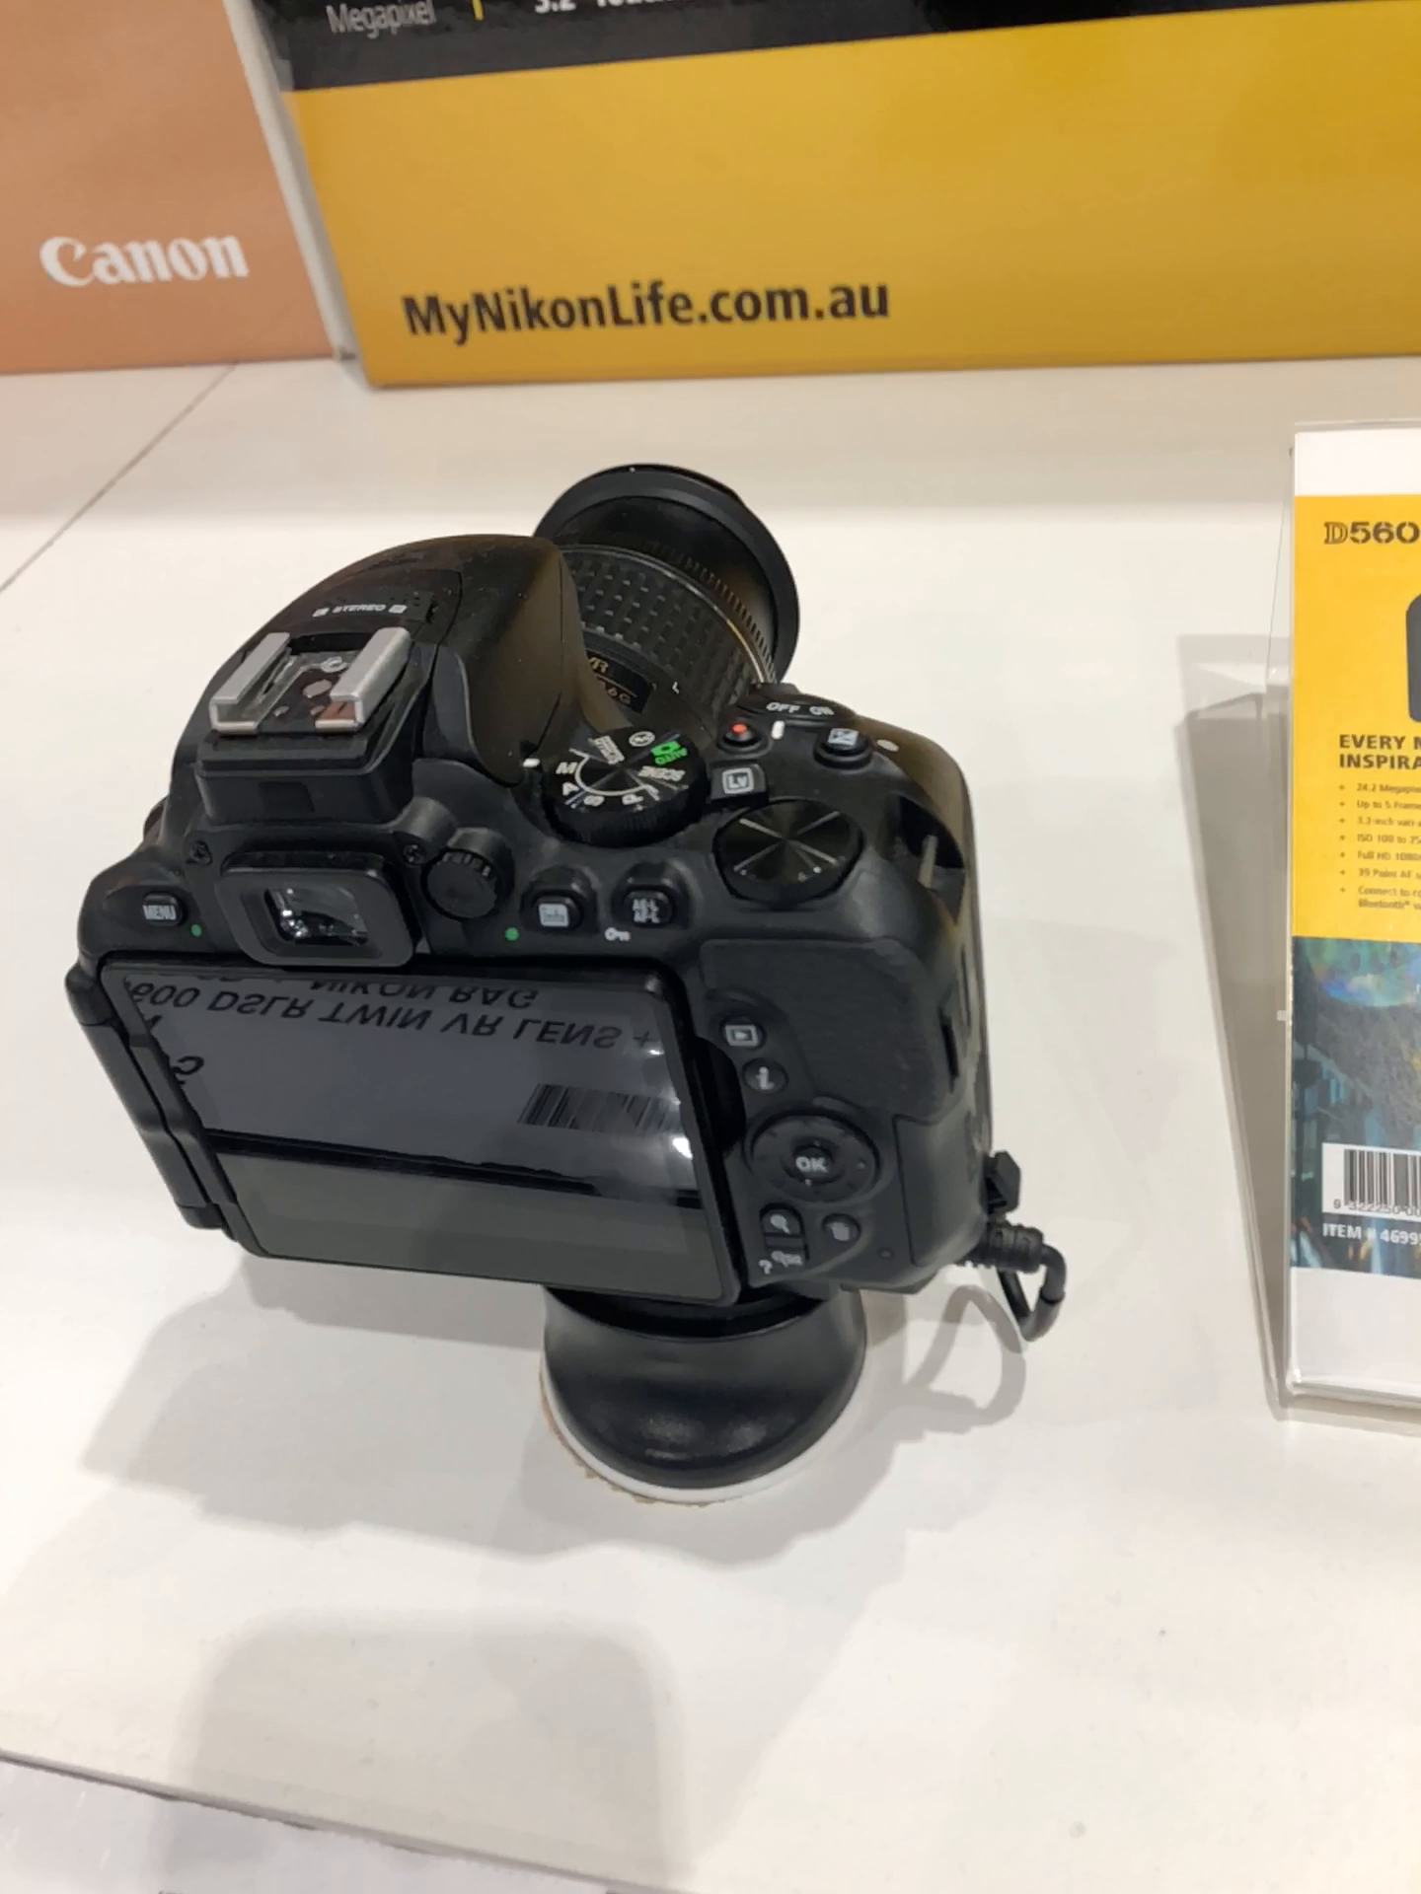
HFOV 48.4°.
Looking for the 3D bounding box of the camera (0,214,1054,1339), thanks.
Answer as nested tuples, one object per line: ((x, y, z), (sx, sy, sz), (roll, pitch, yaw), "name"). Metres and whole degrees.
((-0.014, -0.039, 0.264), (0.127, 0.096, 0.163), (3, 43, 15), "camera")
